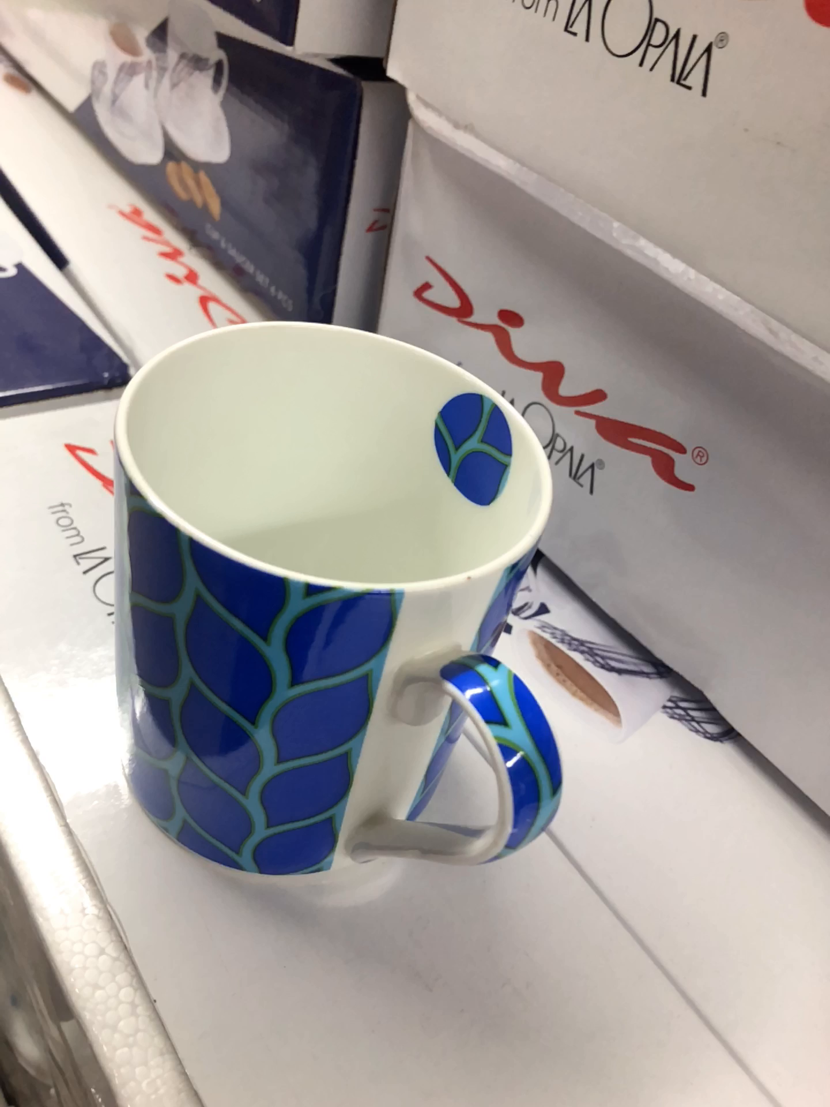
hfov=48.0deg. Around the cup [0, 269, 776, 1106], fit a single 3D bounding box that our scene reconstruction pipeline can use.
[{"bbox_3d":[-0.017,0.016,0.189,0.080,0.089,0.120,-20,51,-34],"label":"cup"}]
